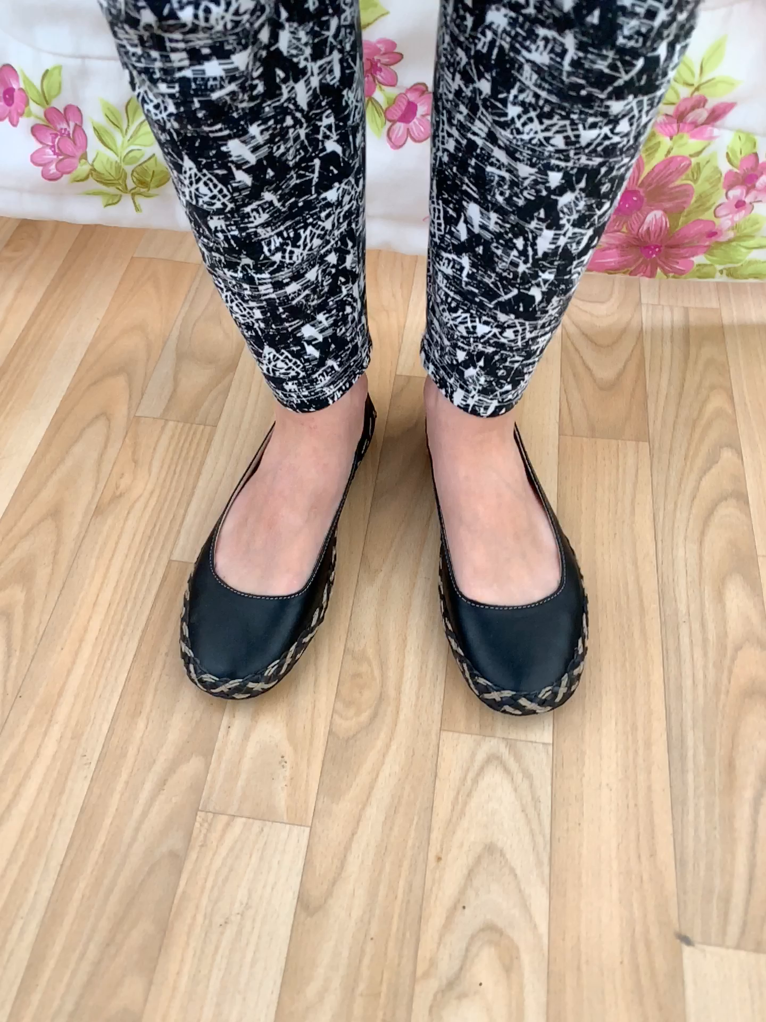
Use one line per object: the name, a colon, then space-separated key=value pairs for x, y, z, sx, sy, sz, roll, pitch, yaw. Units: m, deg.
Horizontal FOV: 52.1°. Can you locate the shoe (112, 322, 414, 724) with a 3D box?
shoe: x=-0.065 y=-0.005 z=0.534 sx=0.100 sy=0.070 sz=0.265 roll=14 pitch=57 yaw=12

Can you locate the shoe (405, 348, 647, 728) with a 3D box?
shoe: x=0.081 y=0.006 z=0.522 sx=0.100 sy=0.060 sz=0.251 roll=-7 pitch=55 yaw=-2
